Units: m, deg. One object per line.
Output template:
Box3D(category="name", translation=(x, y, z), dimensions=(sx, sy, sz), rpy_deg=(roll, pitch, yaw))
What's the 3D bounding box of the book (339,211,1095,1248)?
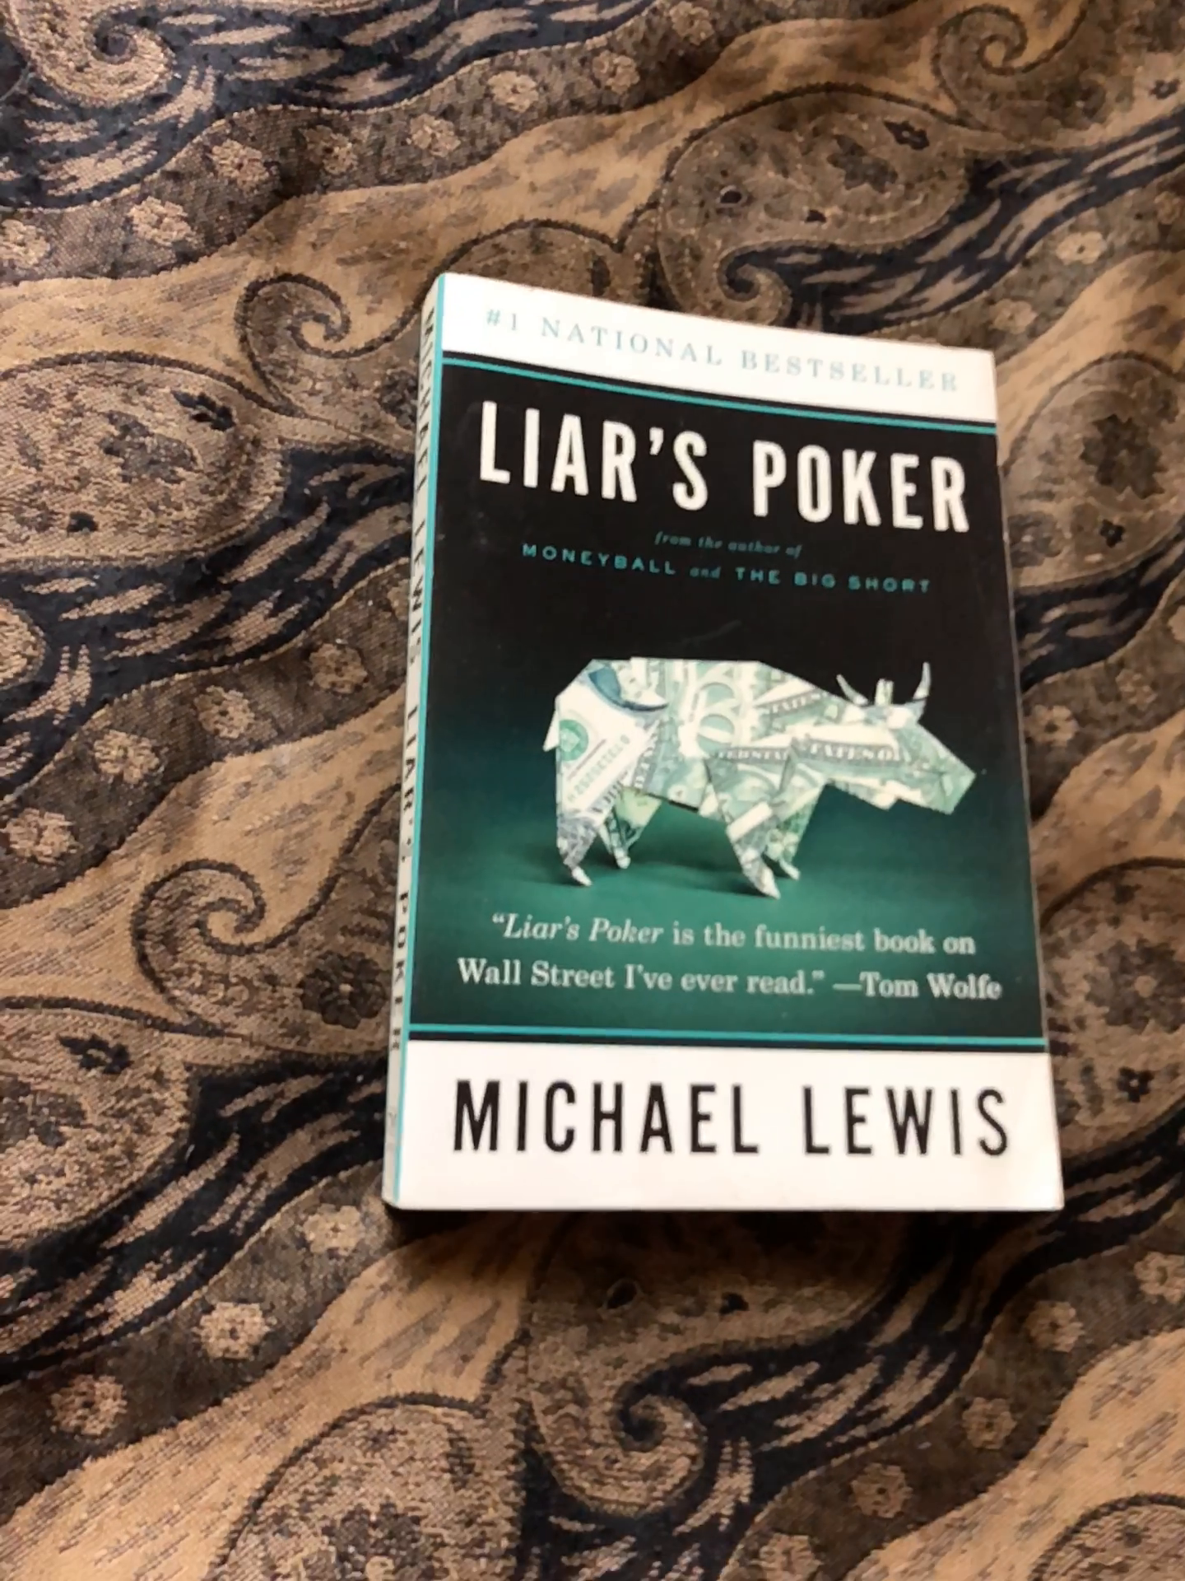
Box3D(category="book", translation=(0.029, -0.013, 0.297), dimensions=(0.150, 0.040, 0.210), rpy_deg=(5, 77, -10))
